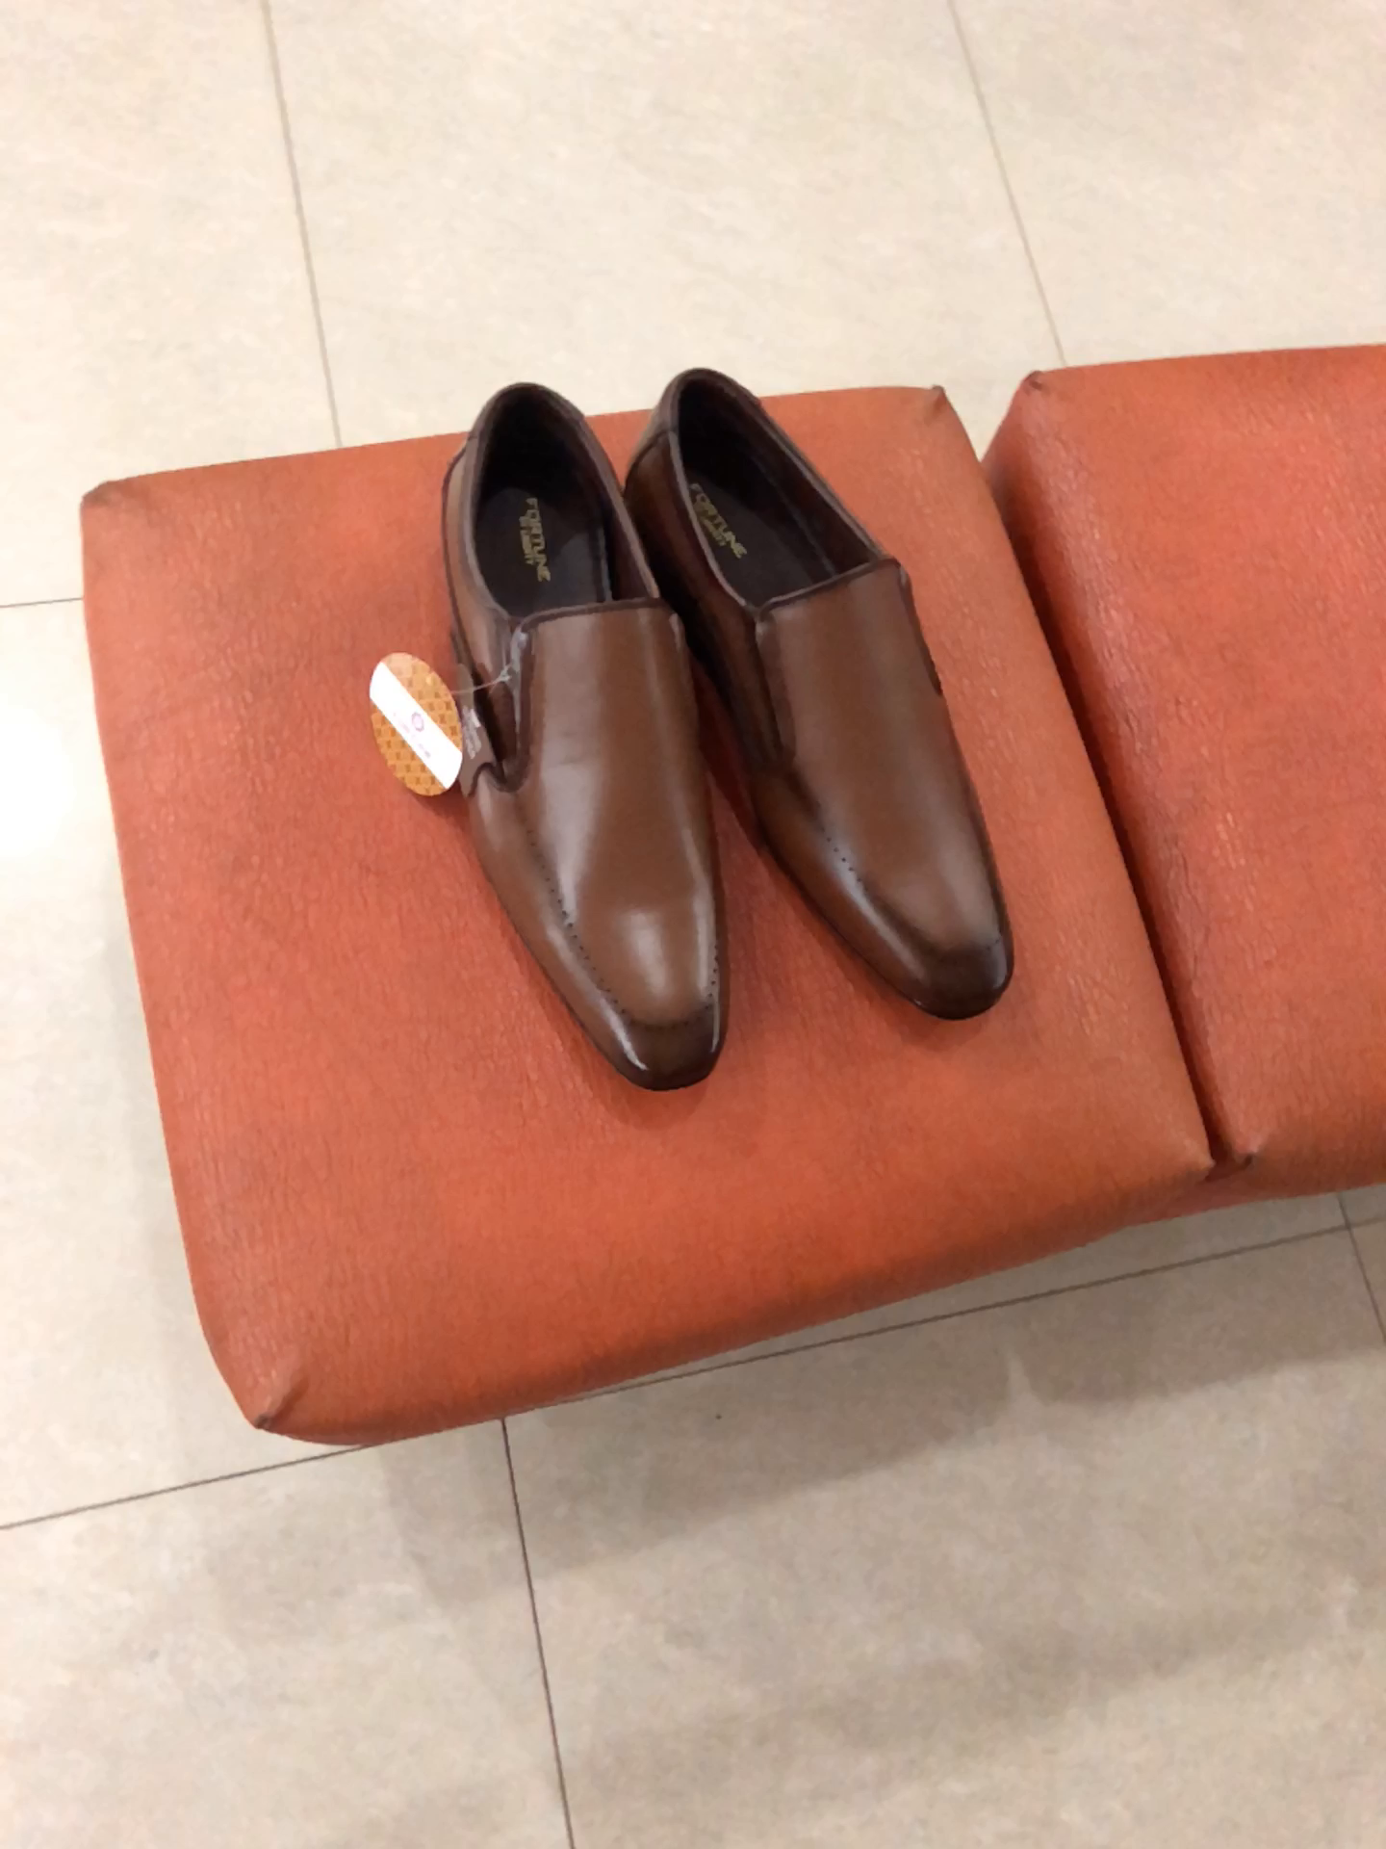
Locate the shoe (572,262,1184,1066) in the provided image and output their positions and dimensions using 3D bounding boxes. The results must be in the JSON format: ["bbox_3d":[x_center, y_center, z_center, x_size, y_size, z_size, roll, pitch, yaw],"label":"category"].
[{"bbox_3d":[0.062,-0.106,0.627,0.101,0.108,0.295,-23,77,-16],"label":"shoe"}]

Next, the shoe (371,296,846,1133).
[{"bbox_3d":[-0.044,-0.081,0.611,0.099,0.128,0.293,-13,74,-13],"label":"shoe"}]
